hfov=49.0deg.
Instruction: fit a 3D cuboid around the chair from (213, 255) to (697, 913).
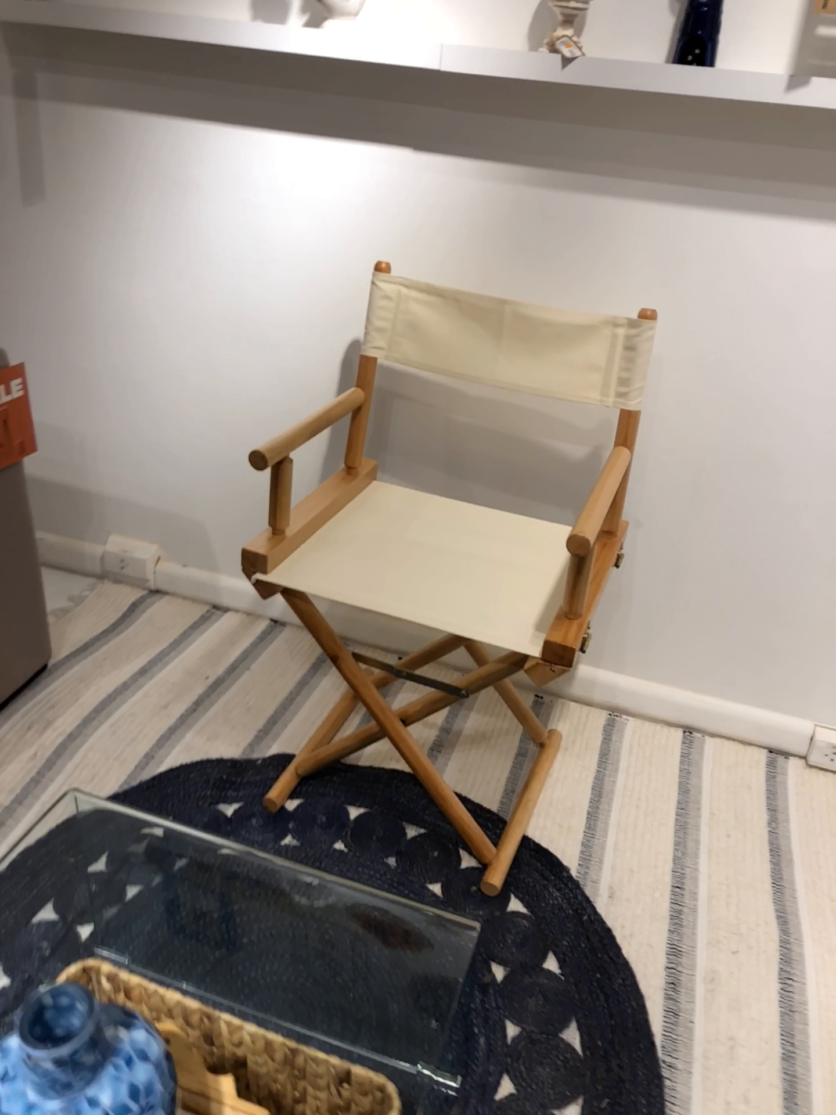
[{"bbox_3d":[0.062,0.001,1.502,0.540,0.794,0.564,15,30,16],"label":"chair"}]
